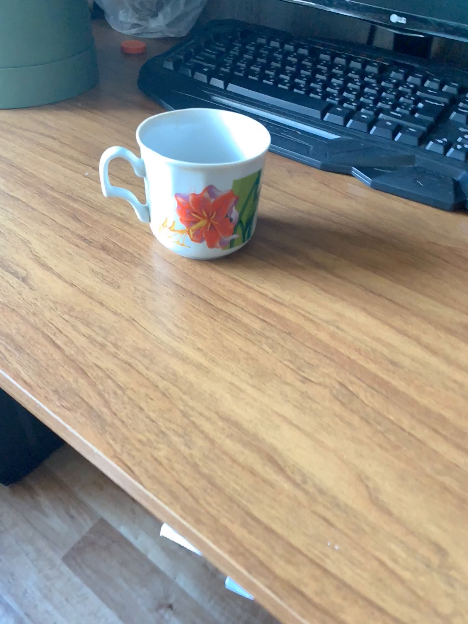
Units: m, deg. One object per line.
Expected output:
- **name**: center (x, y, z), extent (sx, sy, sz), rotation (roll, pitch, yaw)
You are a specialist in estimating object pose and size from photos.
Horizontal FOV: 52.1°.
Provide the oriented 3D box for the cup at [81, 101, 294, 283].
- **cup**: center (-0.032, -0.079, 0.306), extent (0.110, 0.080, 0.070), rotation (-10, 44, -16)
